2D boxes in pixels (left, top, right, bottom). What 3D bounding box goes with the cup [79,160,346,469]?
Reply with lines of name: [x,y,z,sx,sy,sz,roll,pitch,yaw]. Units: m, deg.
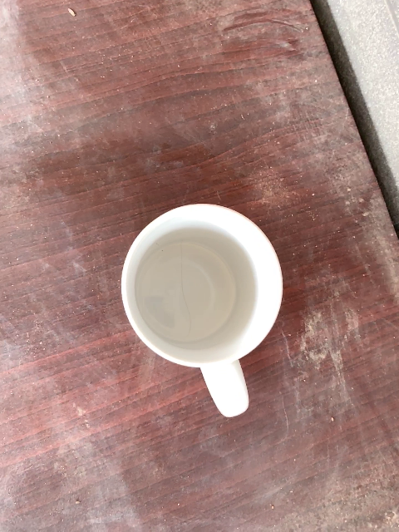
cup: [0.000,0.025,0.242,0.090,0.100,0.120,-19,85,-10]
